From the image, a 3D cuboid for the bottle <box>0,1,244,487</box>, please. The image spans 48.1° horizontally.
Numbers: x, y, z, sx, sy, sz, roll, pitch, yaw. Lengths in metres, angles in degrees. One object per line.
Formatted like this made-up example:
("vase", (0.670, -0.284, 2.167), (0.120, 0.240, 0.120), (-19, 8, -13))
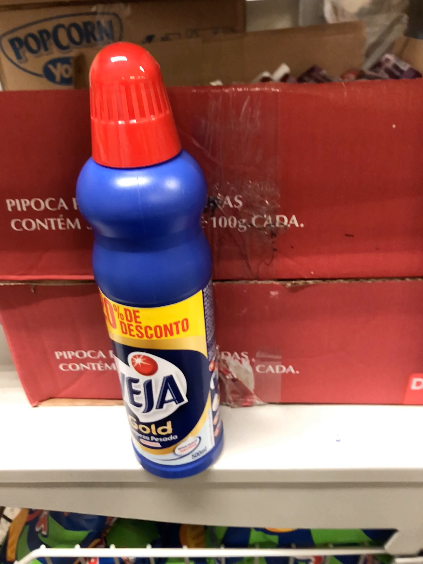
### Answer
("bottle", (-0.034, -0.002, 0.256), (0.070, 0.248, 0.070), (-5, 34, 3))
